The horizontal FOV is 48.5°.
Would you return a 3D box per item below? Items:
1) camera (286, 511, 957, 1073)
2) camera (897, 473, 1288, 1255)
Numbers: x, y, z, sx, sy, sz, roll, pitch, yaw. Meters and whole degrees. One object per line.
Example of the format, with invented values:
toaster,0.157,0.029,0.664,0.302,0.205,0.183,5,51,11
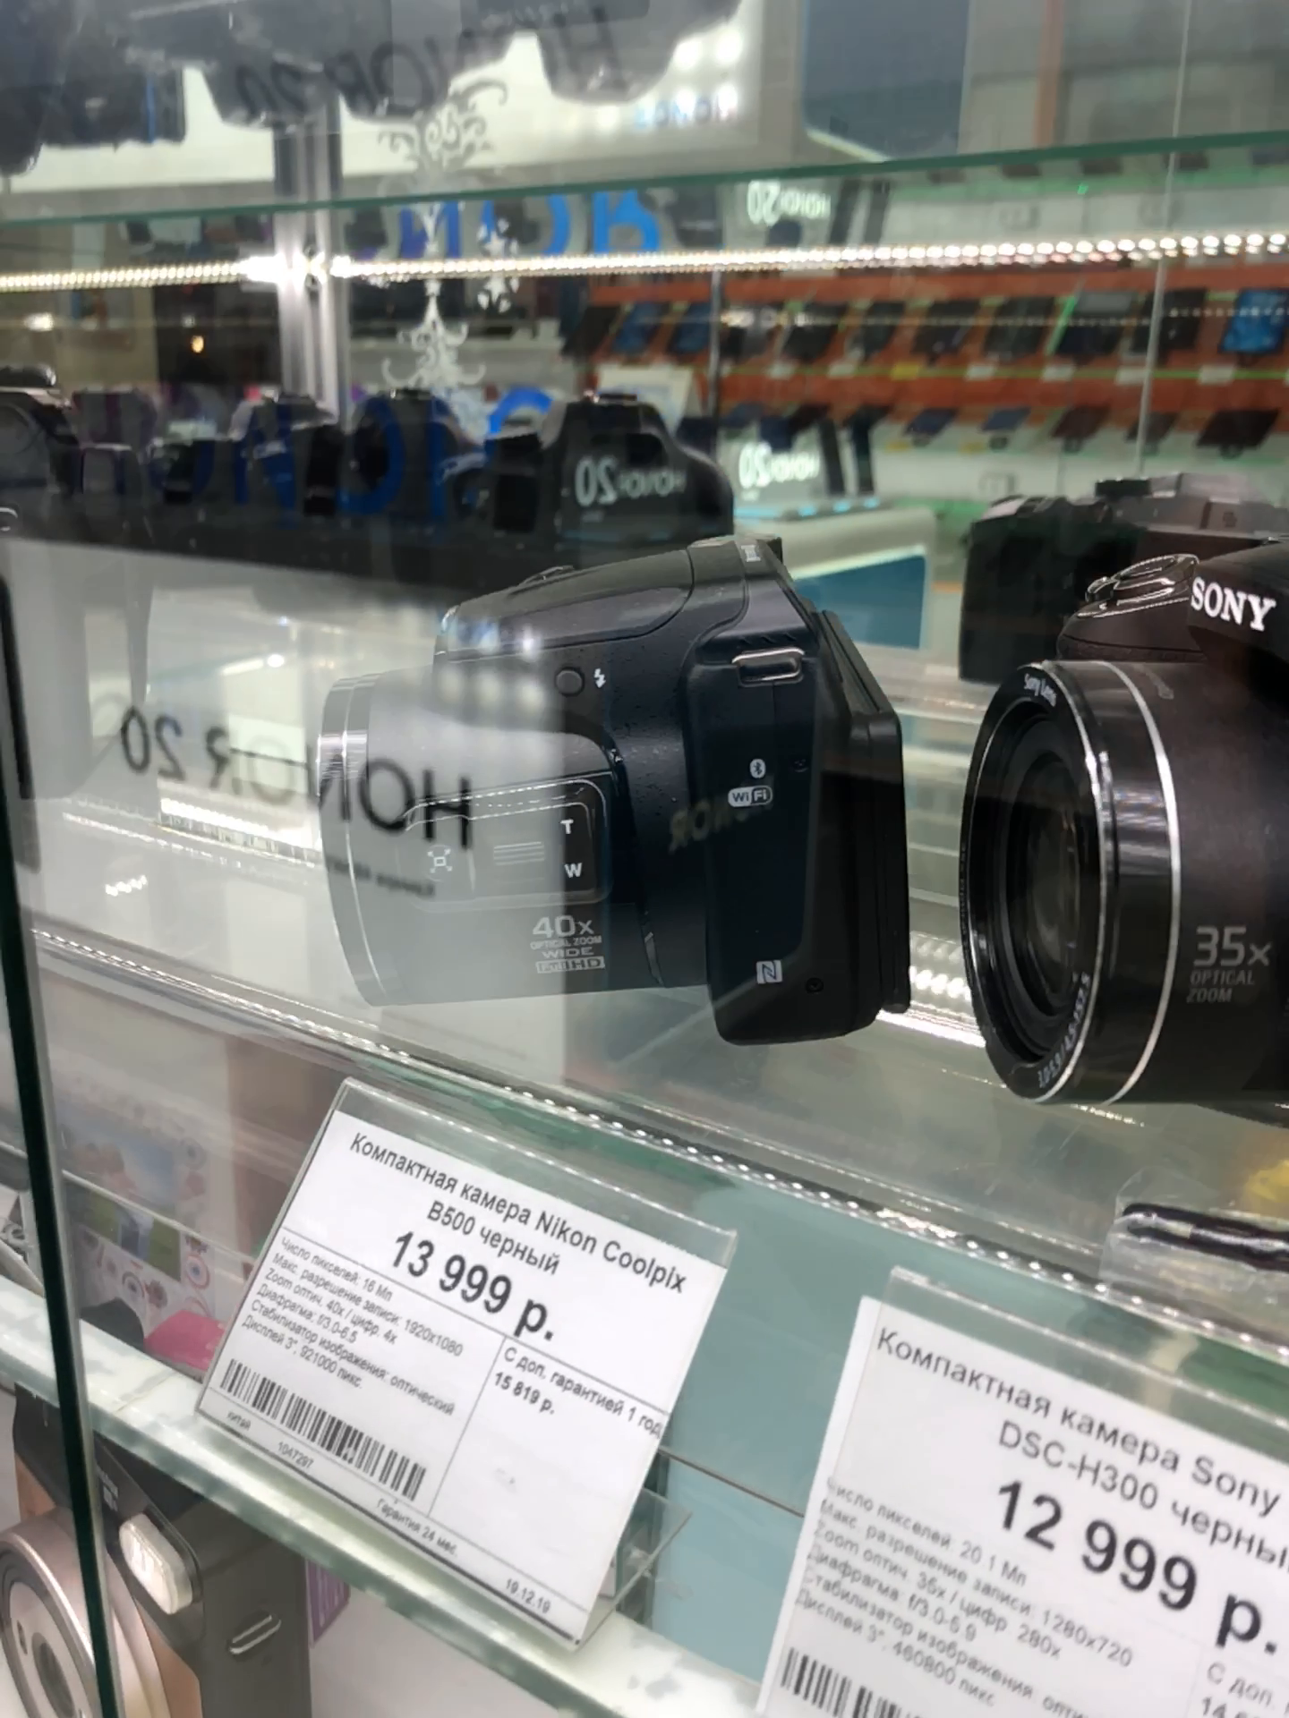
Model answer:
camera,-0.007,-0.021,0.273,0.098,0.080,0.110,0,18,-4
camera,0.099,-0.012,0.216,0.098,0.084,0.115,-3,16,-2
